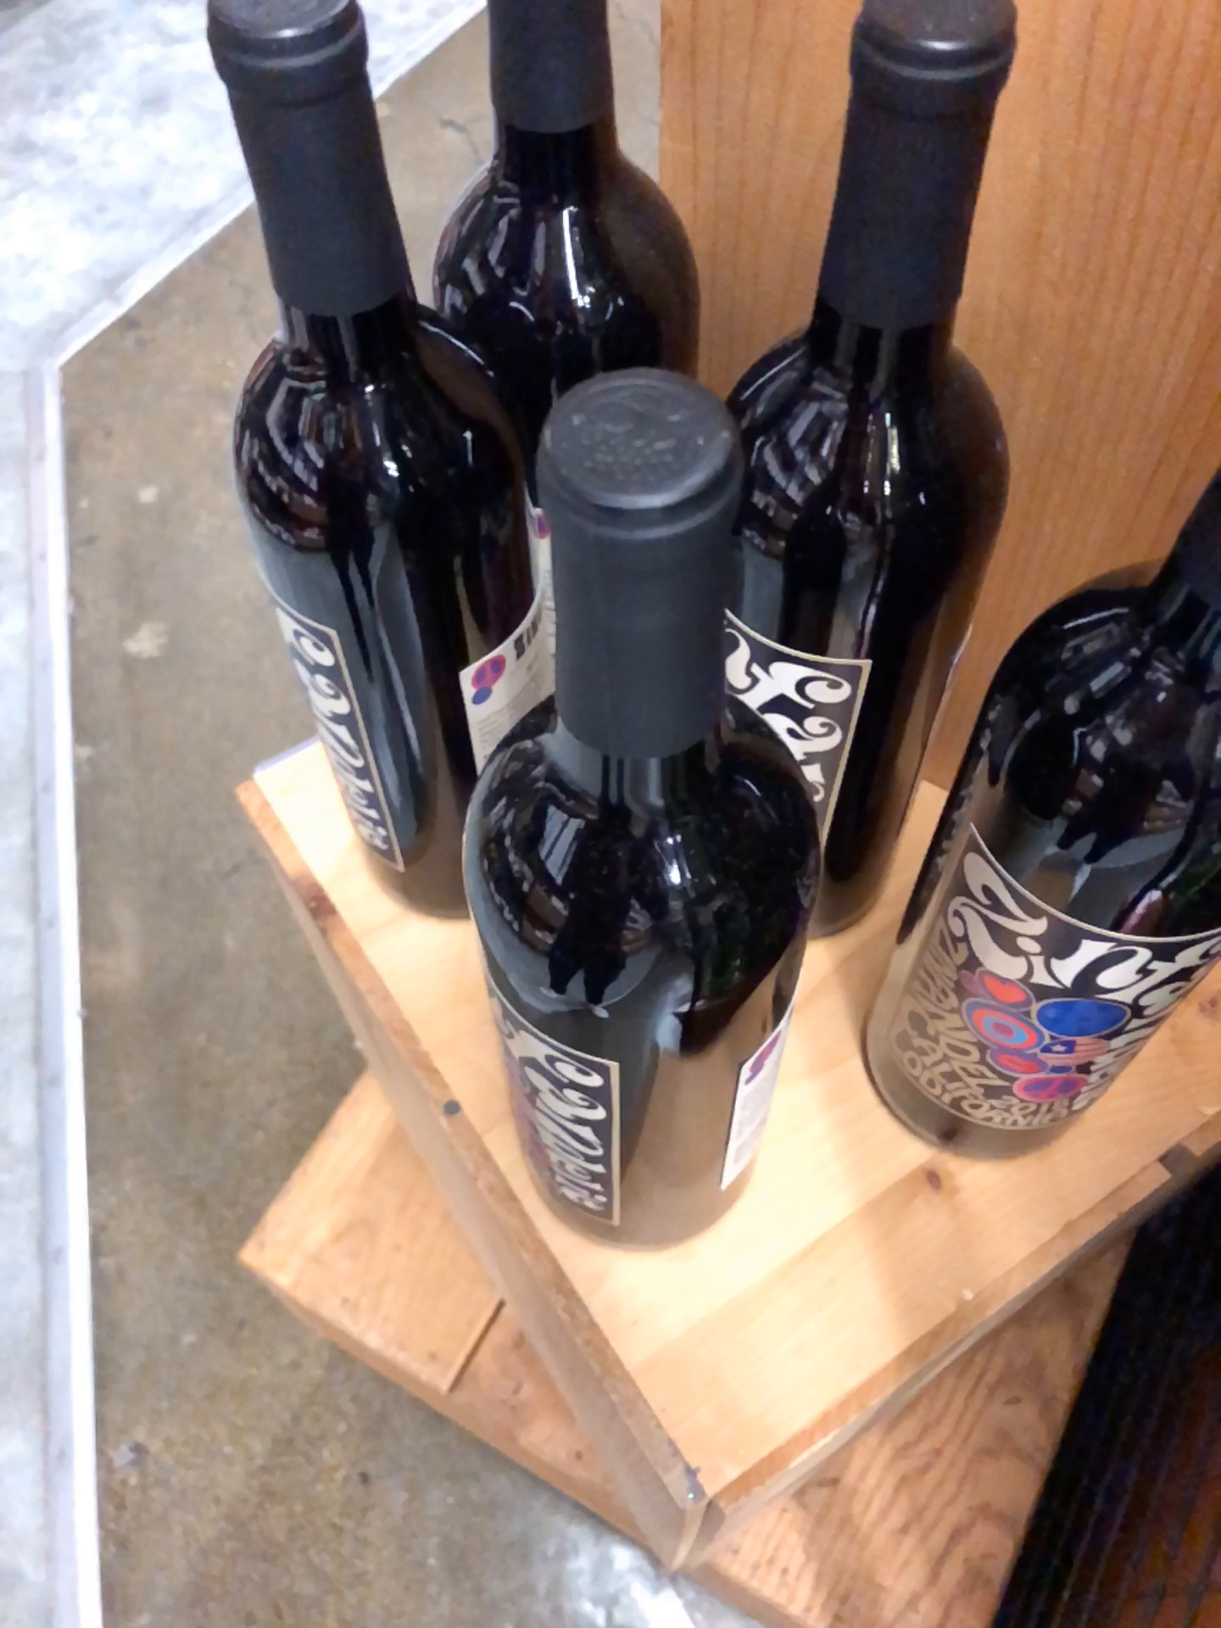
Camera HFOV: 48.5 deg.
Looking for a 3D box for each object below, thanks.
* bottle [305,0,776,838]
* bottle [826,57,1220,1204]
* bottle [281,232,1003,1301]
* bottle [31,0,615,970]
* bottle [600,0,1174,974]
[{"bbox_3d":[-0.012,-0.101,0.370,0.080,0.281,0.077,-1,59,1],"label":"bottle"},{"bbox_3d":[0.119,0.001,0.326,0.080,0.311,0.077,-1,59,1],"label":"bottle"},{"bbox_3d":[0.005,0.028,0.304,0.070,0.287,0.073,-1,59,1],"label":"bottle"},{"bbox_3d":[-0.055,-0.070,0.380,0.077,0.305,0.080,-1,59,1],"label":"bottle"},{"bbox_3d":[0.052,-0.063,0.348,0.080,0.275,0.077,-1,59,1],"label":"bottle"}]
